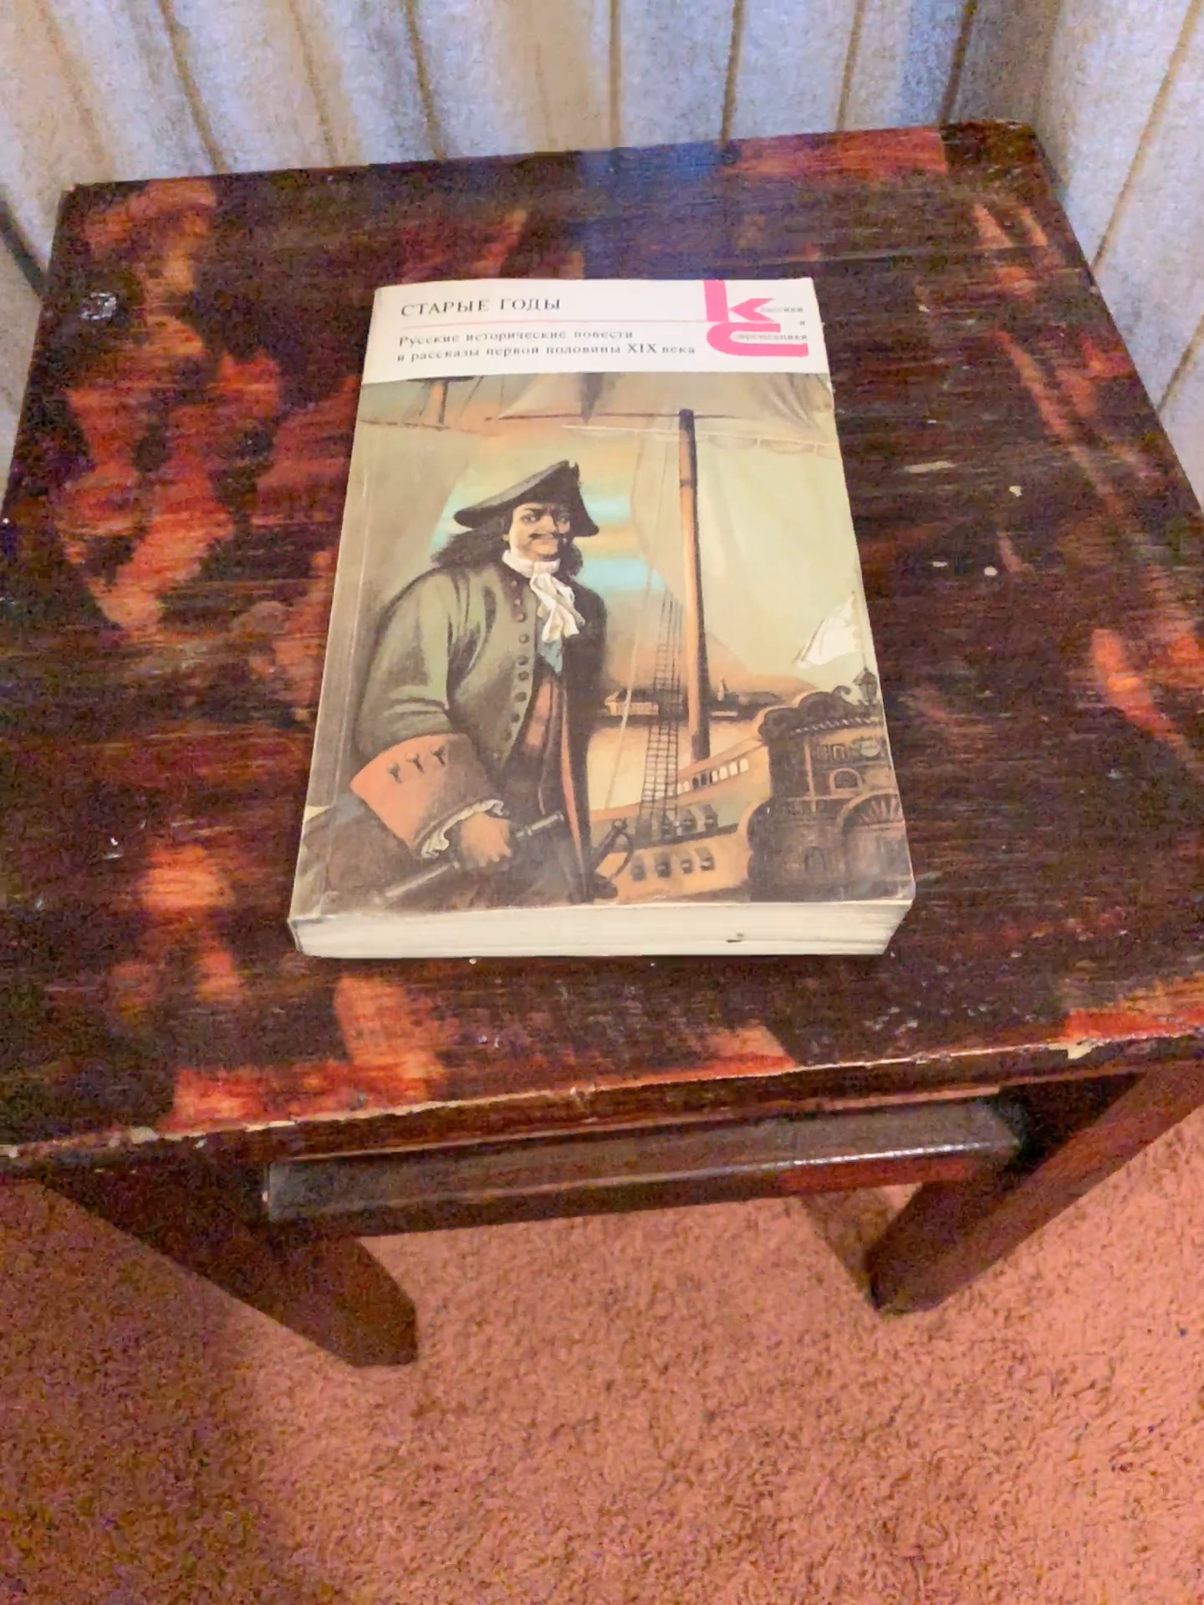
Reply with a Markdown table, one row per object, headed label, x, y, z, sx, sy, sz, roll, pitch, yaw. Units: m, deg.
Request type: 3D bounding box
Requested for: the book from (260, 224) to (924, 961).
| label | x | y | z | sx | sy | sz | roll | pitch | yaw |
| --- | --- | --- | --- | --- | --- | --- | --- | --- | --- |
| book | -0.003 | -0.061 | 0.293 | 0.123 | 0.026 | 0.198 | -2 | 59 | 1 |
